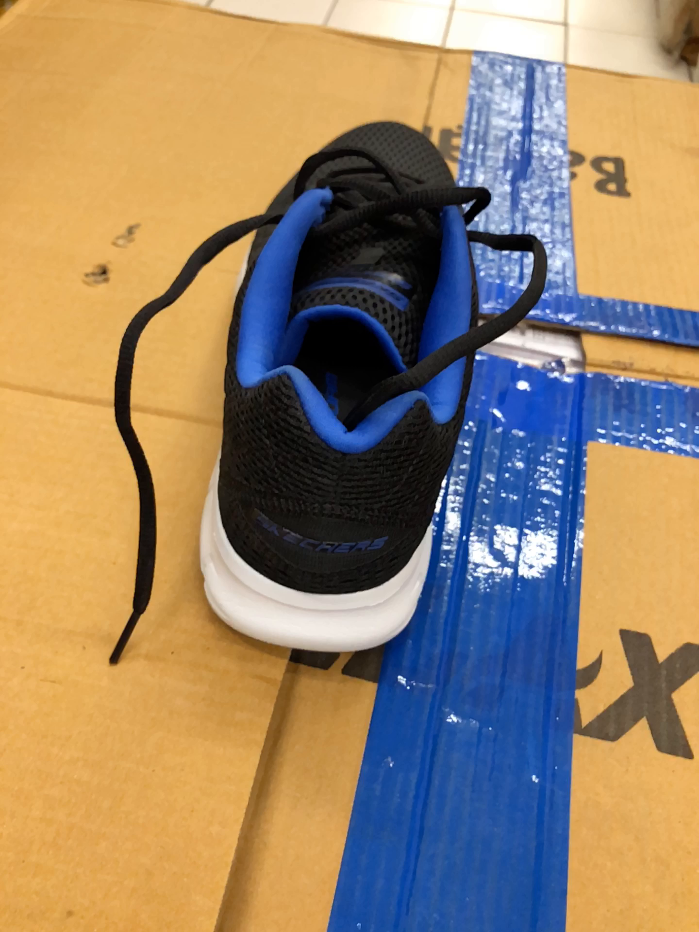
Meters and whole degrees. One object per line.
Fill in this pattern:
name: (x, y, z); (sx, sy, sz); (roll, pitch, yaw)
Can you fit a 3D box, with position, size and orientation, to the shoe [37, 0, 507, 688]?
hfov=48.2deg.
shoe: (-0.006, -0.072, 0.316); (0.114, 0.106, 0.279); (7, 51, 1)
